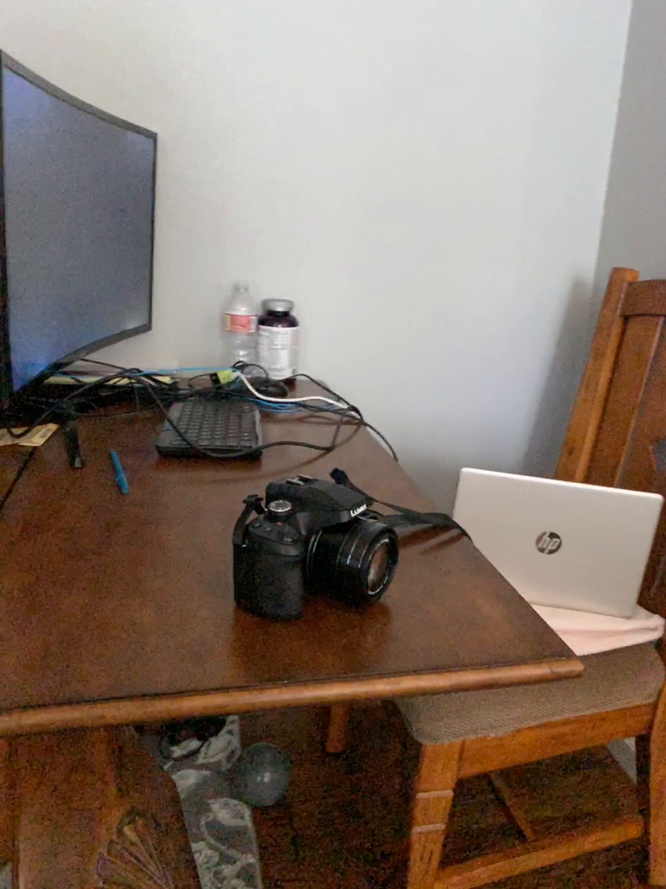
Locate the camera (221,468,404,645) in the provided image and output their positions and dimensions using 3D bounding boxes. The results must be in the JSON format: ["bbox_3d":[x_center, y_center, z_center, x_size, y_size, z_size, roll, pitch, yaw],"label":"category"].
[{"bbox_3d":[-0.017,0.094,0.626,0.110,0.089,0.131,13,21,30],"label":"camera"}]
